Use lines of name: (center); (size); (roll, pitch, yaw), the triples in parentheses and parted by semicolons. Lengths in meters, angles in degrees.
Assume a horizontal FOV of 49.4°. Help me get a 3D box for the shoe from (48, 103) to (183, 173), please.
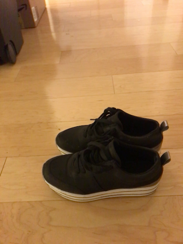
shoe: (0.052, 0.041, 0.509); (0.290, 0.109, 0.121); (-4, 44, 2)

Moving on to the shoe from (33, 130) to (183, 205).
shoe: (0.033, 0.105, 0.462); (0.290, 0.099, 0.121); (-4, 44, 2)
